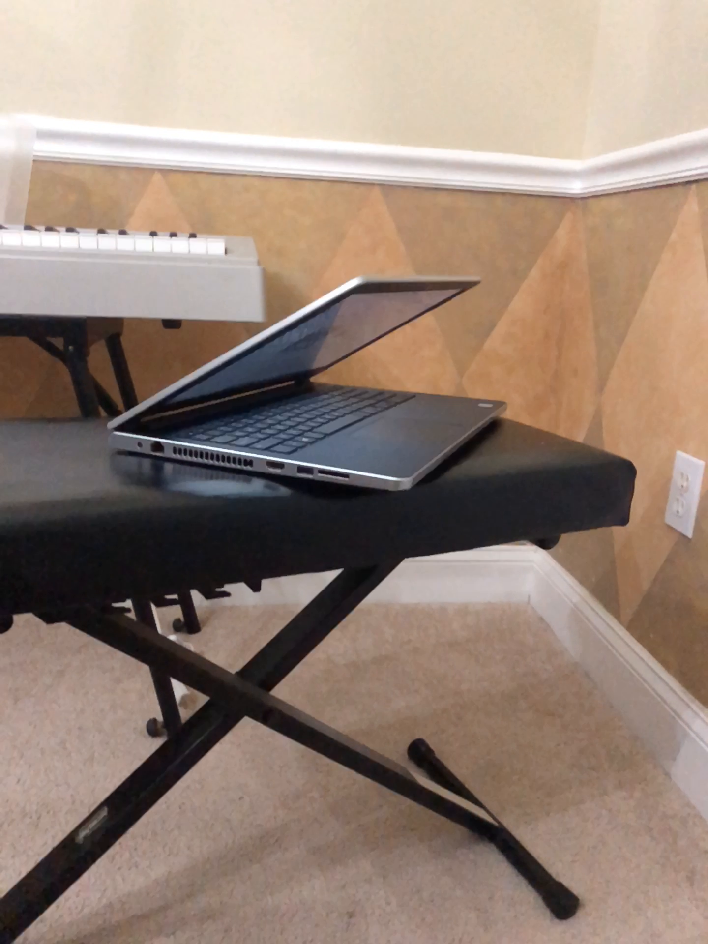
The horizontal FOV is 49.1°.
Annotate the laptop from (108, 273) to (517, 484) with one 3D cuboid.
[{"bbox_3d":[-0.010,-0.120,0.773,0.261,0.137,0.376,9,17,20],"label":"laptop"}]
